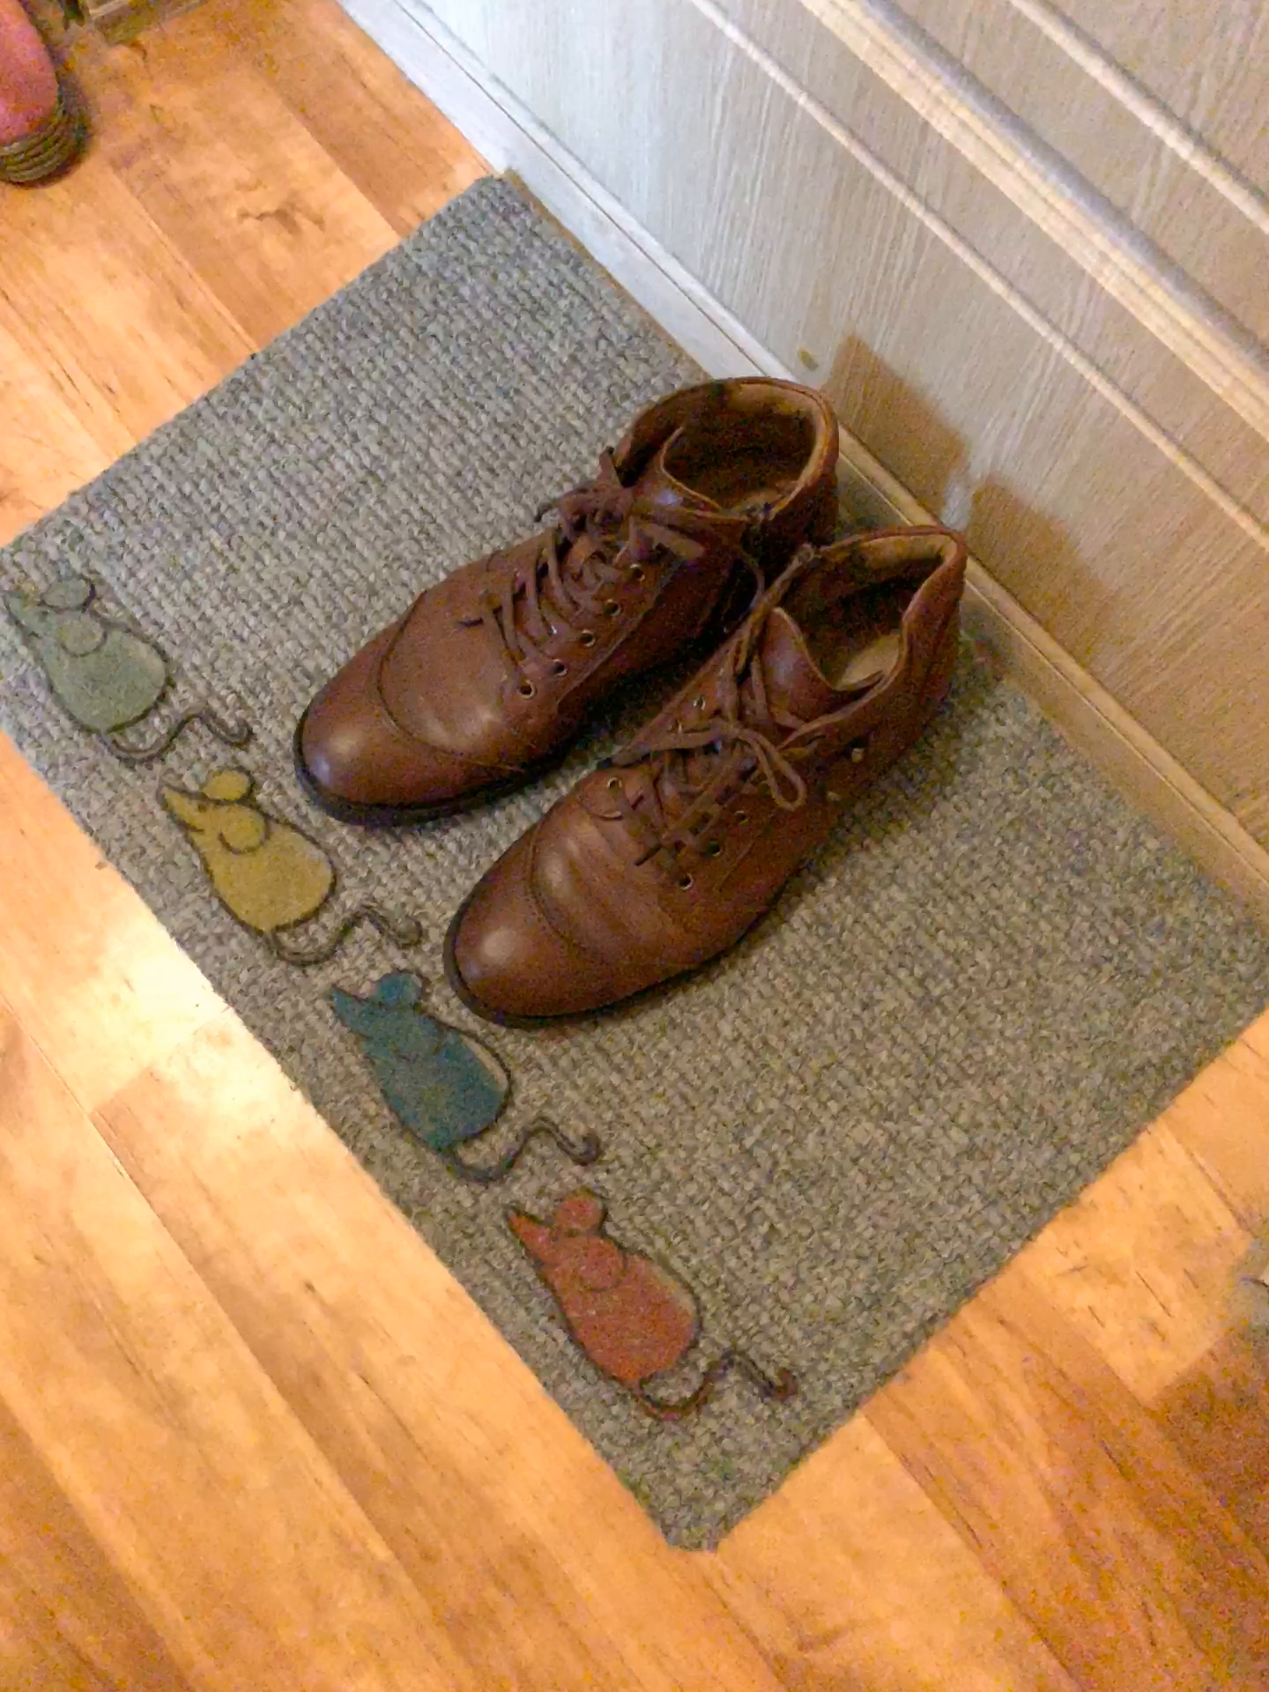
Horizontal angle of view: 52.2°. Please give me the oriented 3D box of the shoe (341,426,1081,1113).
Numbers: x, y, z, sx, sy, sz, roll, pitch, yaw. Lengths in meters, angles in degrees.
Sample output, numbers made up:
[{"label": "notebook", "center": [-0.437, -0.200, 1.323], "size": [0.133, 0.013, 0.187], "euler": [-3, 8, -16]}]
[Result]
[{"label": "shoe", "center": [0.031, -0.022, 0.547], "size": [0.270, 0.140, 0.110], "euler": [-41, 81, -9]}]

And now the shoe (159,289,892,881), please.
[{"label": "shoe", "center": [-0.042, -0.104, 0.567], "size": [0.260, 0.140, 0.110], "euler": [-27, 79, -7]}]
